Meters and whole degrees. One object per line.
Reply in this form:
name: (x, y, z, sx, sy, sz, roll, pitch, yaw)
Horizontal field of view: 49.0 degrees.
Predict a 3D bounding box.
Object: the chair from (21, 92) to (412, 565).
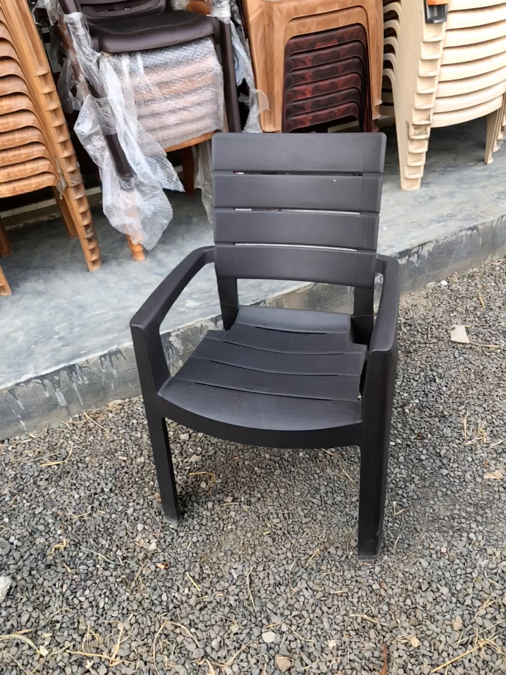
chair: (0.035, -0.052, 1.303, 0.570, 0.796, 0.684, 5, 38, 16)
